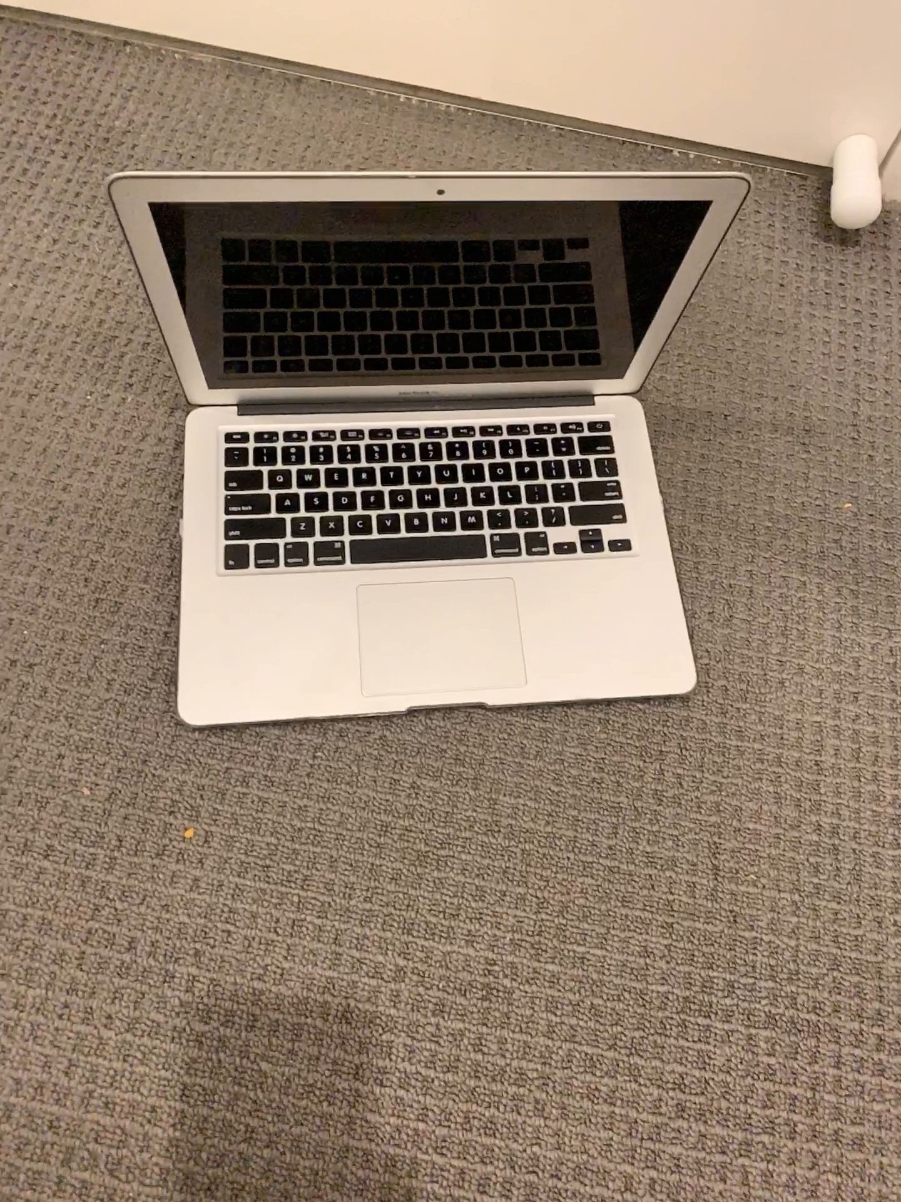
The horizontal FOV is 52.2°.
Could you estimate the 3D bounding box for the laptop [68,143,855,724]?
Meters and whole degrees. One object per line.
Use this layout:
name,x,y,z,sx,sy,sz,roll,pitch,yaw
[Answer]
laptop,-0.006,-0.082,0.516,0.322,0.215,0.226,-3,66,-6
